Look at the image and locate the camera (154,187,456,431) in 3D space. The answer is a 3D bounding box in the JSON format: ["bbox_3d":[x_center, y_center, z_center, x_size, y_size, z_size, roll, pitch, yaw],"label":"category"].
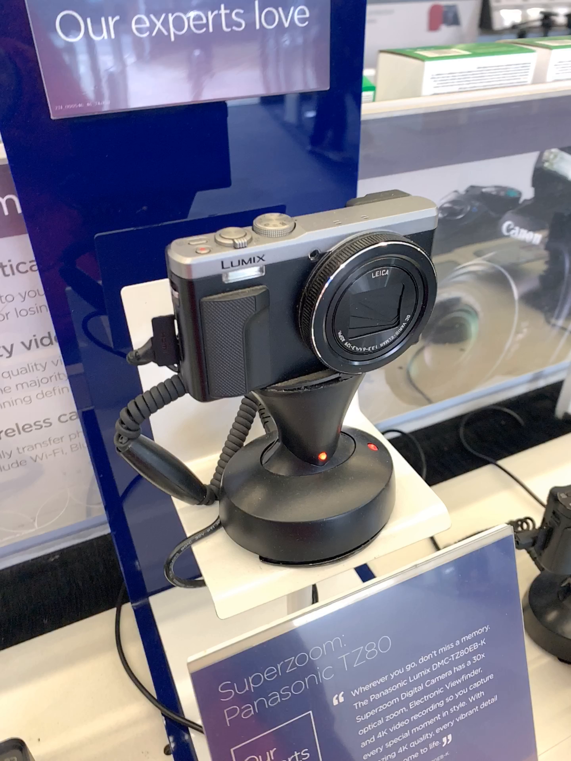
[{"bbox_3d":[0.010,-0.031,0.237,0.110,0.069,0.030,-16,37,-22],"label":"camera"}]
